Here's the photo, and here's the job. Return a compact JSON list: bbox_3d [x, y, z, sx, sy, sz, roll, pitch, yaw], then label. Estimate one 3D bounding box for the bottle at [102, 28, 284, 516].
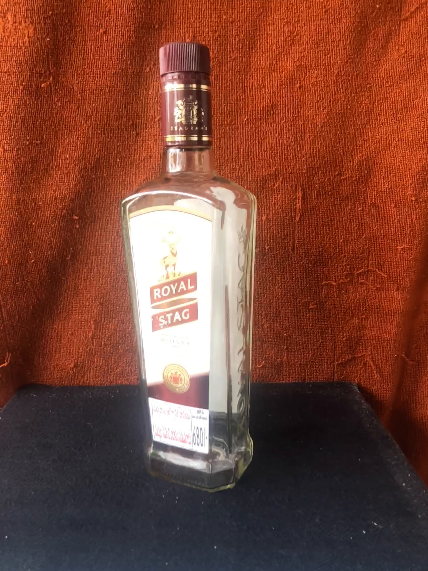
[{"bbox_3d":[-0.012,-0.001,0.315,0.090,0.289,0.060,6,16,20],"label":"bottle"}]
